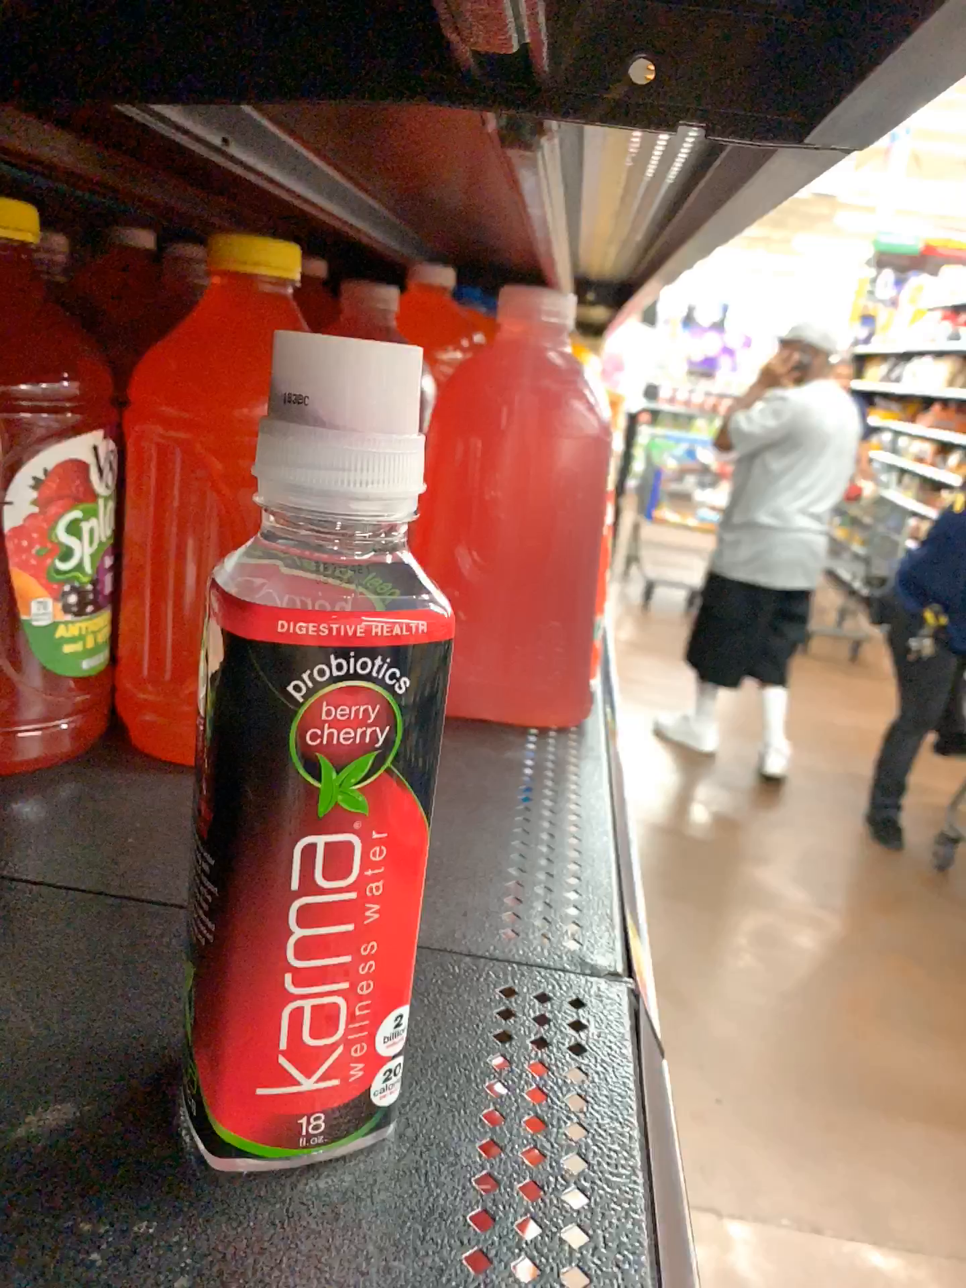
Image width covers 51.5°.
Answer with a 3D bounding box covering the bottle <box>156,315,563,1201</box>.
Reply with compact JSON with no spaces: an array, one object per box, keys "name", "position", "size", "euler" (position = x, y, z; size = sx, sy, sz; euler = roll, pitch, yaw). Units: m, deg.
[{"name":"bottle","position":[-0.042,0.028,0.265],"size":[0.068,0.209,0.070],"euler":[8,16,-2]}]
